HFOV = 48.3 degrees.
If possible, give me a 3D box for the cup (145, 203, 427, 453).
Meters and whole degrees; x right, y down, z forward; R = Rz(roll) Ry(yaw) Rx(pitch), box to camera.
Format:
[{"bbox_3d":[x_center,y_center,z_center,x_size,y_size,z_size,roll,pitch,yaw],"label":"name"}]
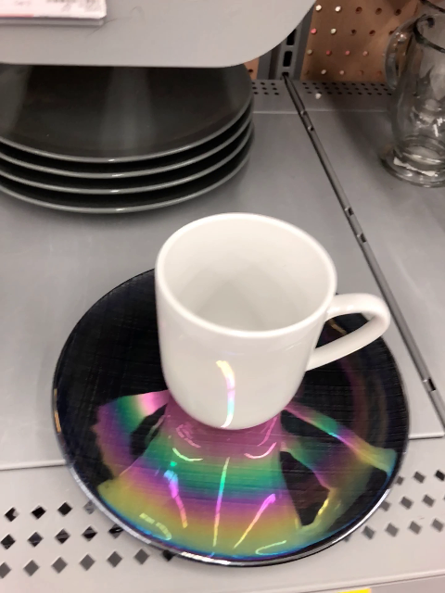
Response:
[{"bbox_3d":[0.020,0.017,0.259,0.112,0.098,0.078,-3,47,-9],"label":"cup"}]
